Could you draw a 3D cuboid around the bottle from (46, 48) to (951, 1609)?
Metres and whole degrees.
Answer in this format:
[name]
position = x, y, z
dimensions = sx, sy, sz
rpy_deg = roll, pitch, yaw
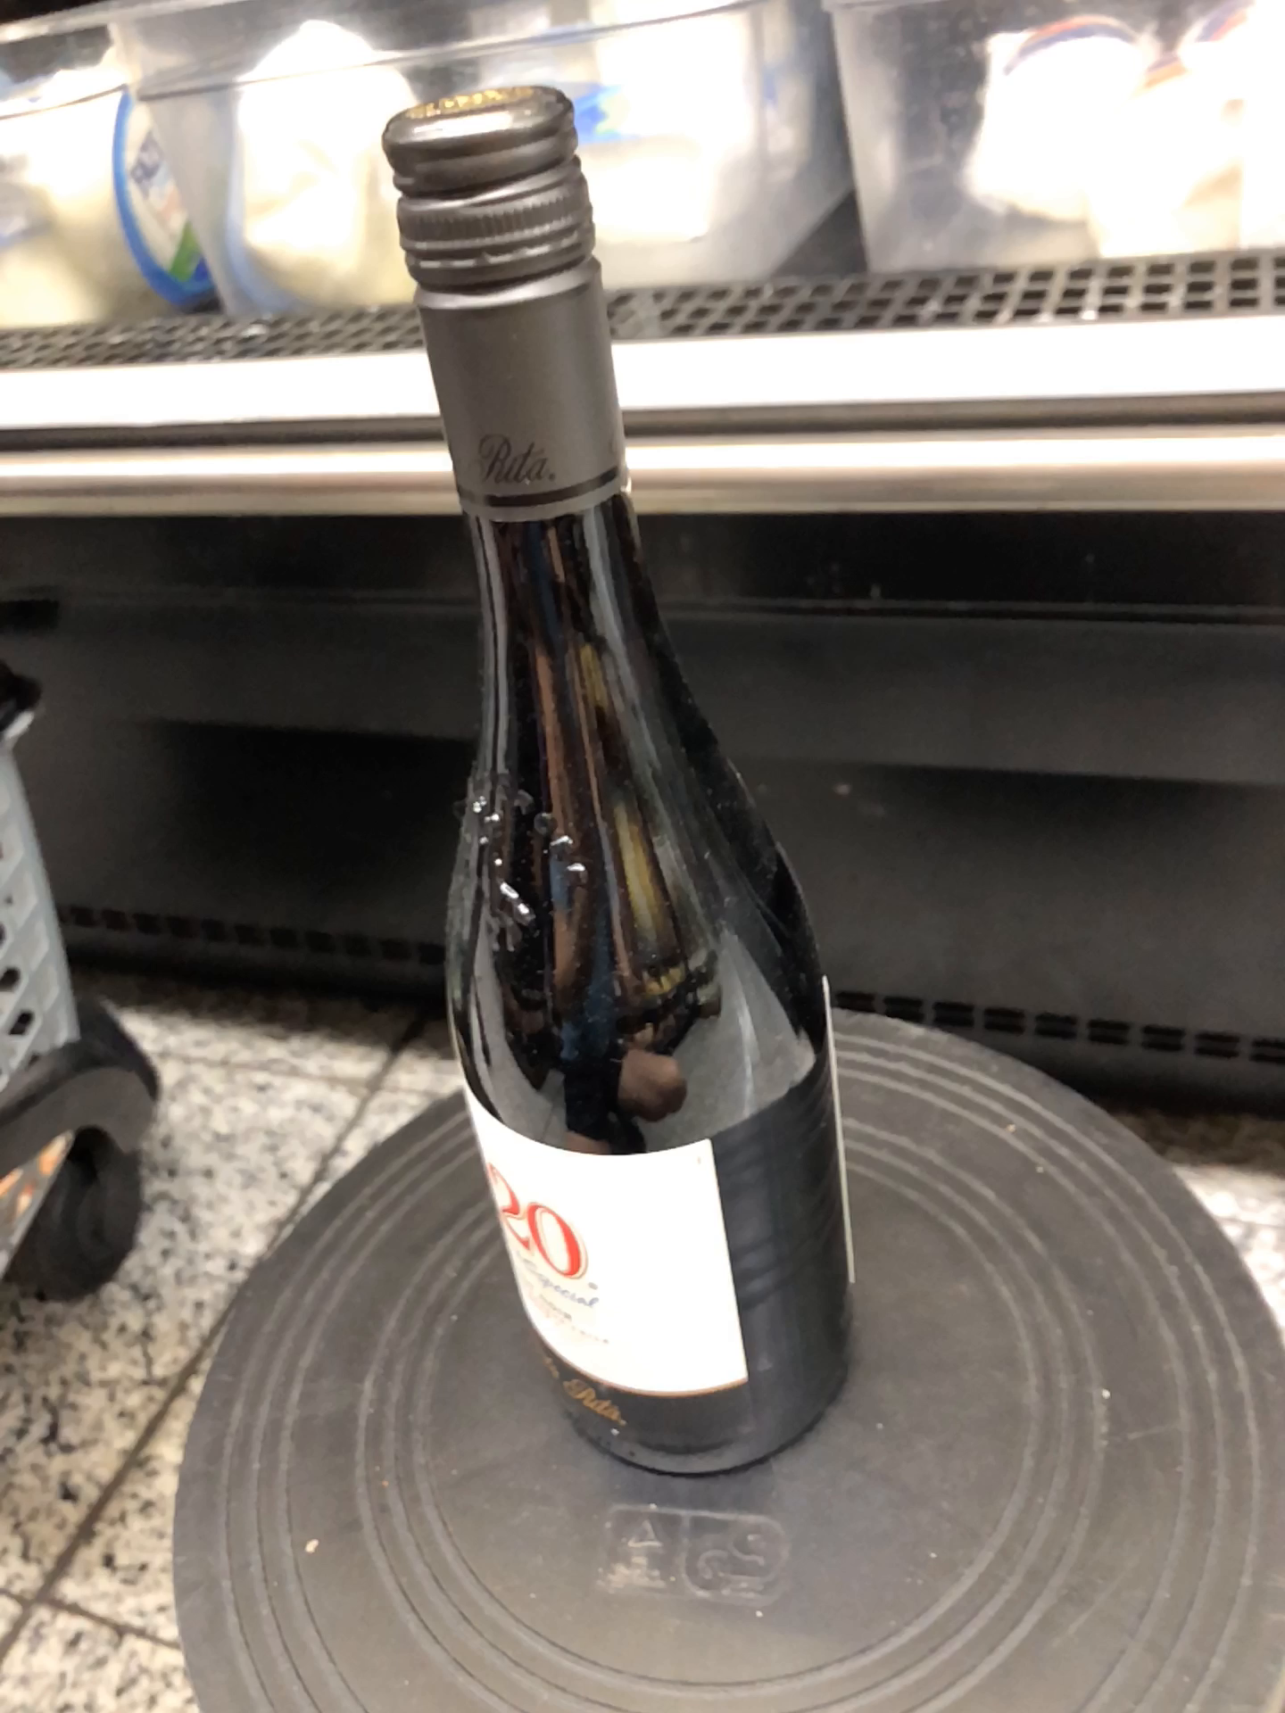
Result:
[bottle]
position = -0.007, 0.012, 0.285
dimensions = 0.090, 0.288, 0.090
rpy_deg = -7, 35, 5
